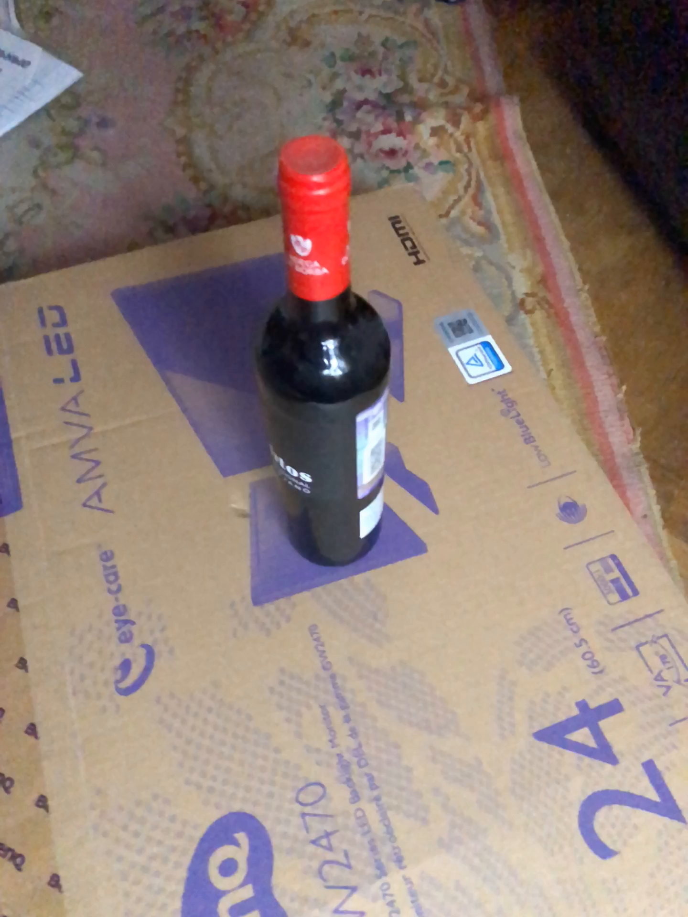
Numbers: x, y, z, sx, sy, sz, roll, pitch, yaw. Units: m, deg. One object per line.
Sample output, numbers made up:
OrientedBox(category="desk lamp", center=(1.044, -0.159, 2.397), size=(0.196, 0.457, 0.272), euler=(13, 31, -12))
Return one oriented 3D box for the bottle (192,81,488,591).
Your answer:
OrientedBox(category="bottle", center=(-0.007, -0.035, 0.421), size=(0.090, 0.299, 0.090), euler=(1, 59, -1))
